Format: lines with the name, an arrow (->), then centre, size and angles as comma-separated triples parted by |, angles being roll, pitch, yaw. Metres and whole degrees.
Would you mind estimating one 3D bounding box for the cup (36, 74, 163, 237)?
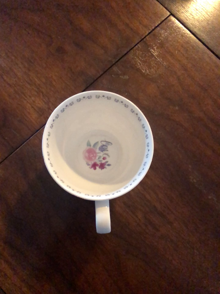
cup -> -0.015, 0.009, 0.282 | 0.120, 0.070, 0.160 | -3, 80, -4
